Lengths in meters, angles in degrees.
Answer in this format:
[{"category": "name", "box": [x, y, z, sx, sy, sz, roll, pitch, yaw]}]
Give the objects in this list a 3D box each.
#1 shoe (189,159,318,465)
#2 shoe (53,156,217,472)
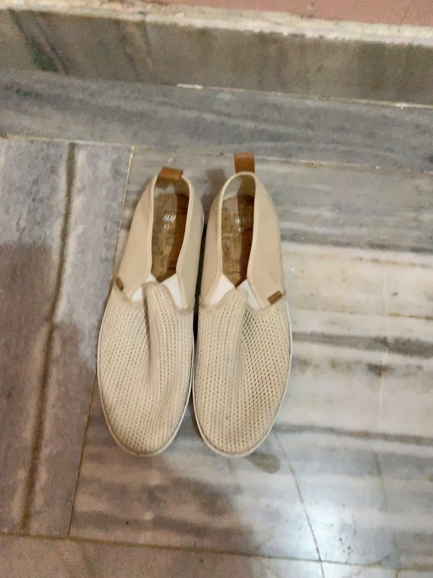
[{"category": "shoe", "box": [0.034, 0.020, 0.479, 0.116, 0.080, 0.310, 1, 74, -1]}, {"category": "shoe", "box": [-0.074, 0.021, 0.478, 0.116, 0.080, 0.310, 6, 74, 0]}]
